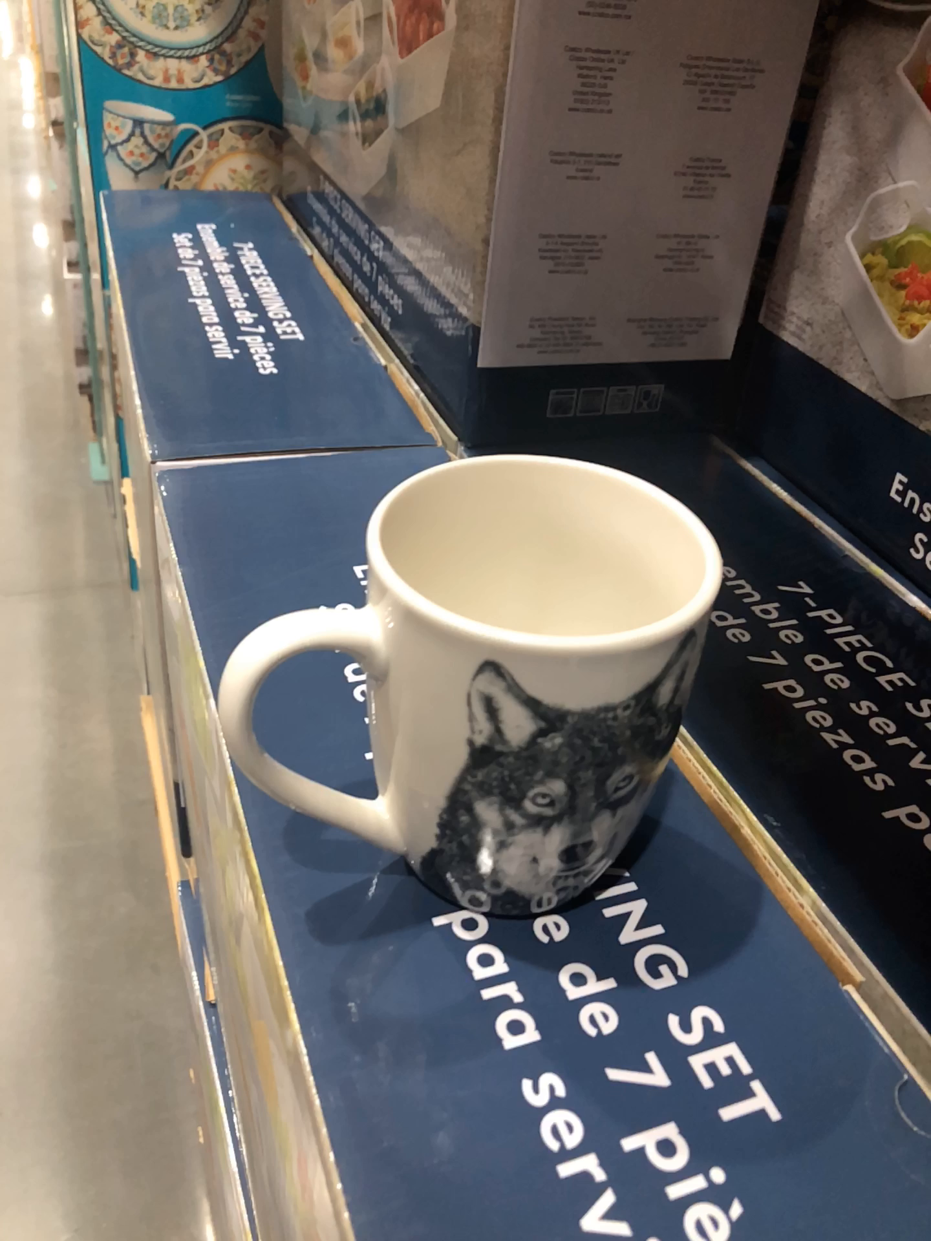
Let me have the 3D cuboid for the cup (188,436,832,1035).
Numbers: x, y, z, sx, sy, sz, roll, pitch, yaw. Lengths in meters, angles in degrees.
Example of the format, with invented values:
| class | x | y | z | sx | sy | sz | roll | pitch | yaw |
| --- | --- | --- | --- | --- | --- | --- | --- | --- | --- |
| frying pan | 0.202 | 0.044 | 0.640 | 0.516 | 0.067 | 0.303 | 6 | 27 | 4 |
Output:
| class | x | y | z | sx | sy | sz | roll | pitch | yaw |
| --- | --- | --- | --- | --- | --- | --- | --- | --- | --- |
| cup | 0.002 | 0.022 | 0.274 | 0.128 | 0.102 | 0.093 | -8 | 37 | -21 |
